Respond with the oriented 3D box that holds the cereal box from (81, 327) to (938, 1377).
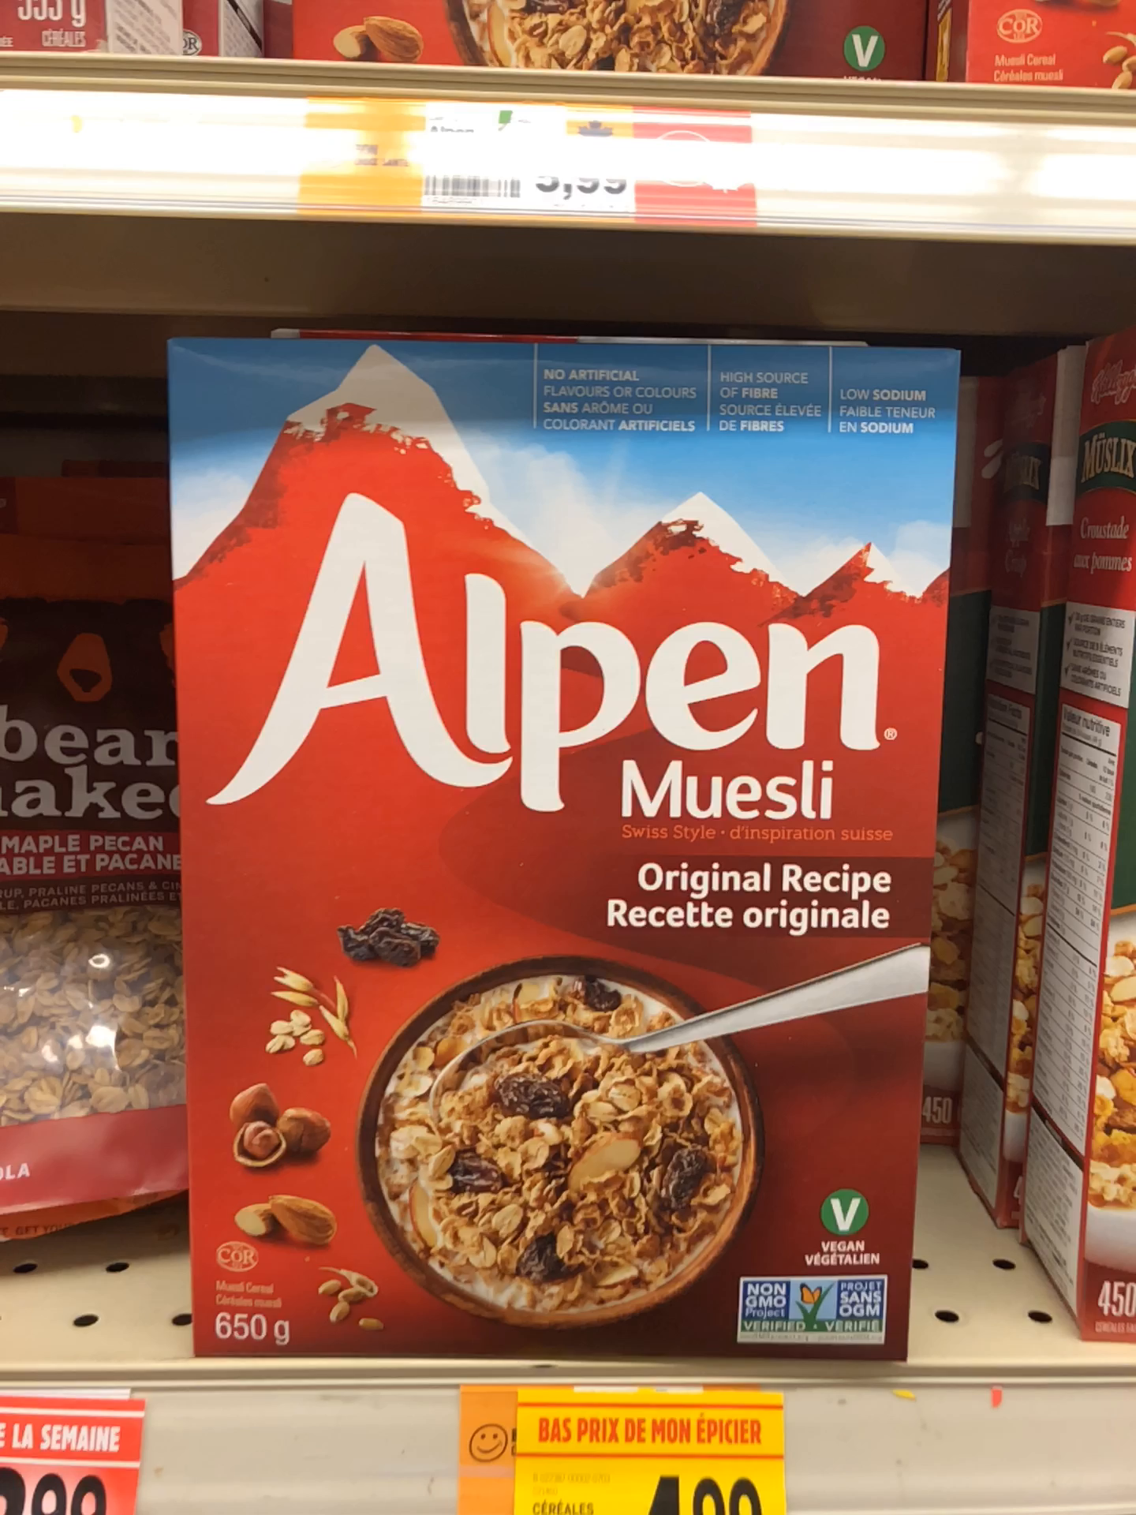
[{"bbox_3d":[-0.014,0.025,0.313,0.180,0.239,0.060,1,9,-2],"label":"cereal box"}]
